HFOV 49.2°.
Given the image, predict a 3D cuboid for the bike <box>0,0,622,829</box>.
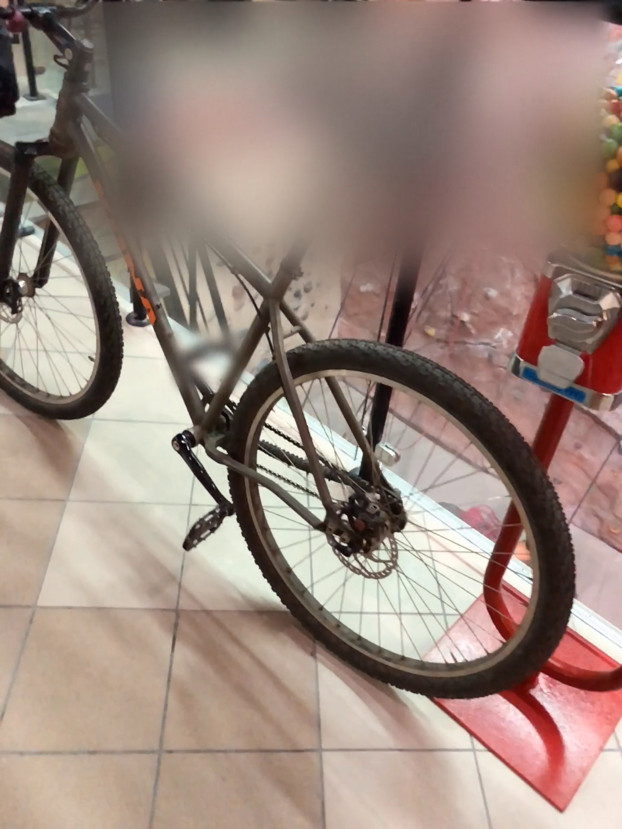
[{"bbox_3d":[-0.242,-0.266,1.384,1.824,1.099,0.751,32,46,24],"label":"bike"}]
